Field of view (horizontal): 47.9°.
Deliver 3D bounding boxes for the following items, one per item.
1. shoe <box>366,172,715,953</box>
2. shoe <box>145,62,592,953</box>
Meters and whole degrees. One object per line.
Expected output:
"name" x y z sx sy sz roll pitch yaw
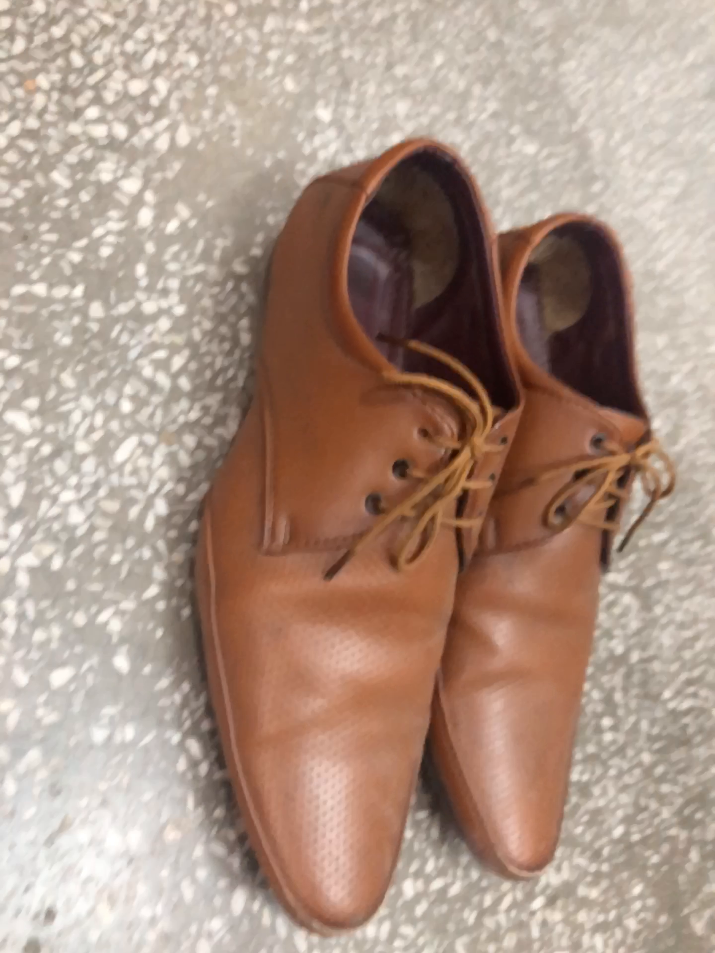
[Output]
"shoe" 0.084 0.034 0.367 0.106 0.118 0.284 11 73 -33
"shoe" 0.002 0.019 0.311 0.106 0.118 0.284 11 73 -33
